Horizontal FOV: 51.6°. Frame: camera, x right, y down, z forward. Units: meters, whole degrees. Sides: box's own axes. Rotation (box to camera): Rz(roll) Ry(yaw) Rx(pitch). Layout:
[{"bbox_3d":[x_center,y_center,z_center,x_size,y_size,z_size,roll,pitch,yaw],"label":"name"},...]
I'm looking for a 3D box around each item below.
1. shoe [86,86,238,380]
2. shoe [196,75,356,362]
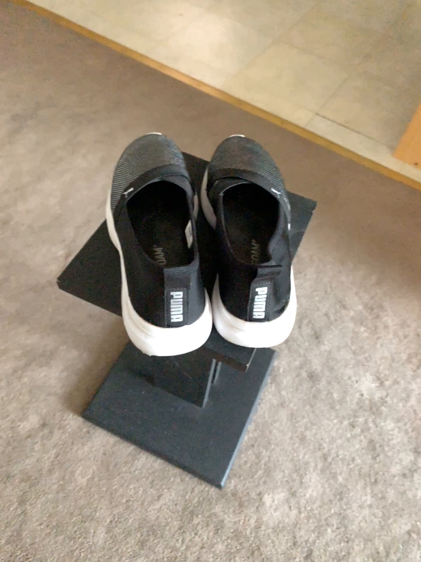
[{"bbox_3d":[-0.051,-0.055,0.398,0.100,0.099,0.258,-4,57,-8],"label":"shoe"},{"bbox_3d":[0.042,-0.067,0.407,0.100,0.099,0.262,1,57,-5],"label":"shoe"}]
